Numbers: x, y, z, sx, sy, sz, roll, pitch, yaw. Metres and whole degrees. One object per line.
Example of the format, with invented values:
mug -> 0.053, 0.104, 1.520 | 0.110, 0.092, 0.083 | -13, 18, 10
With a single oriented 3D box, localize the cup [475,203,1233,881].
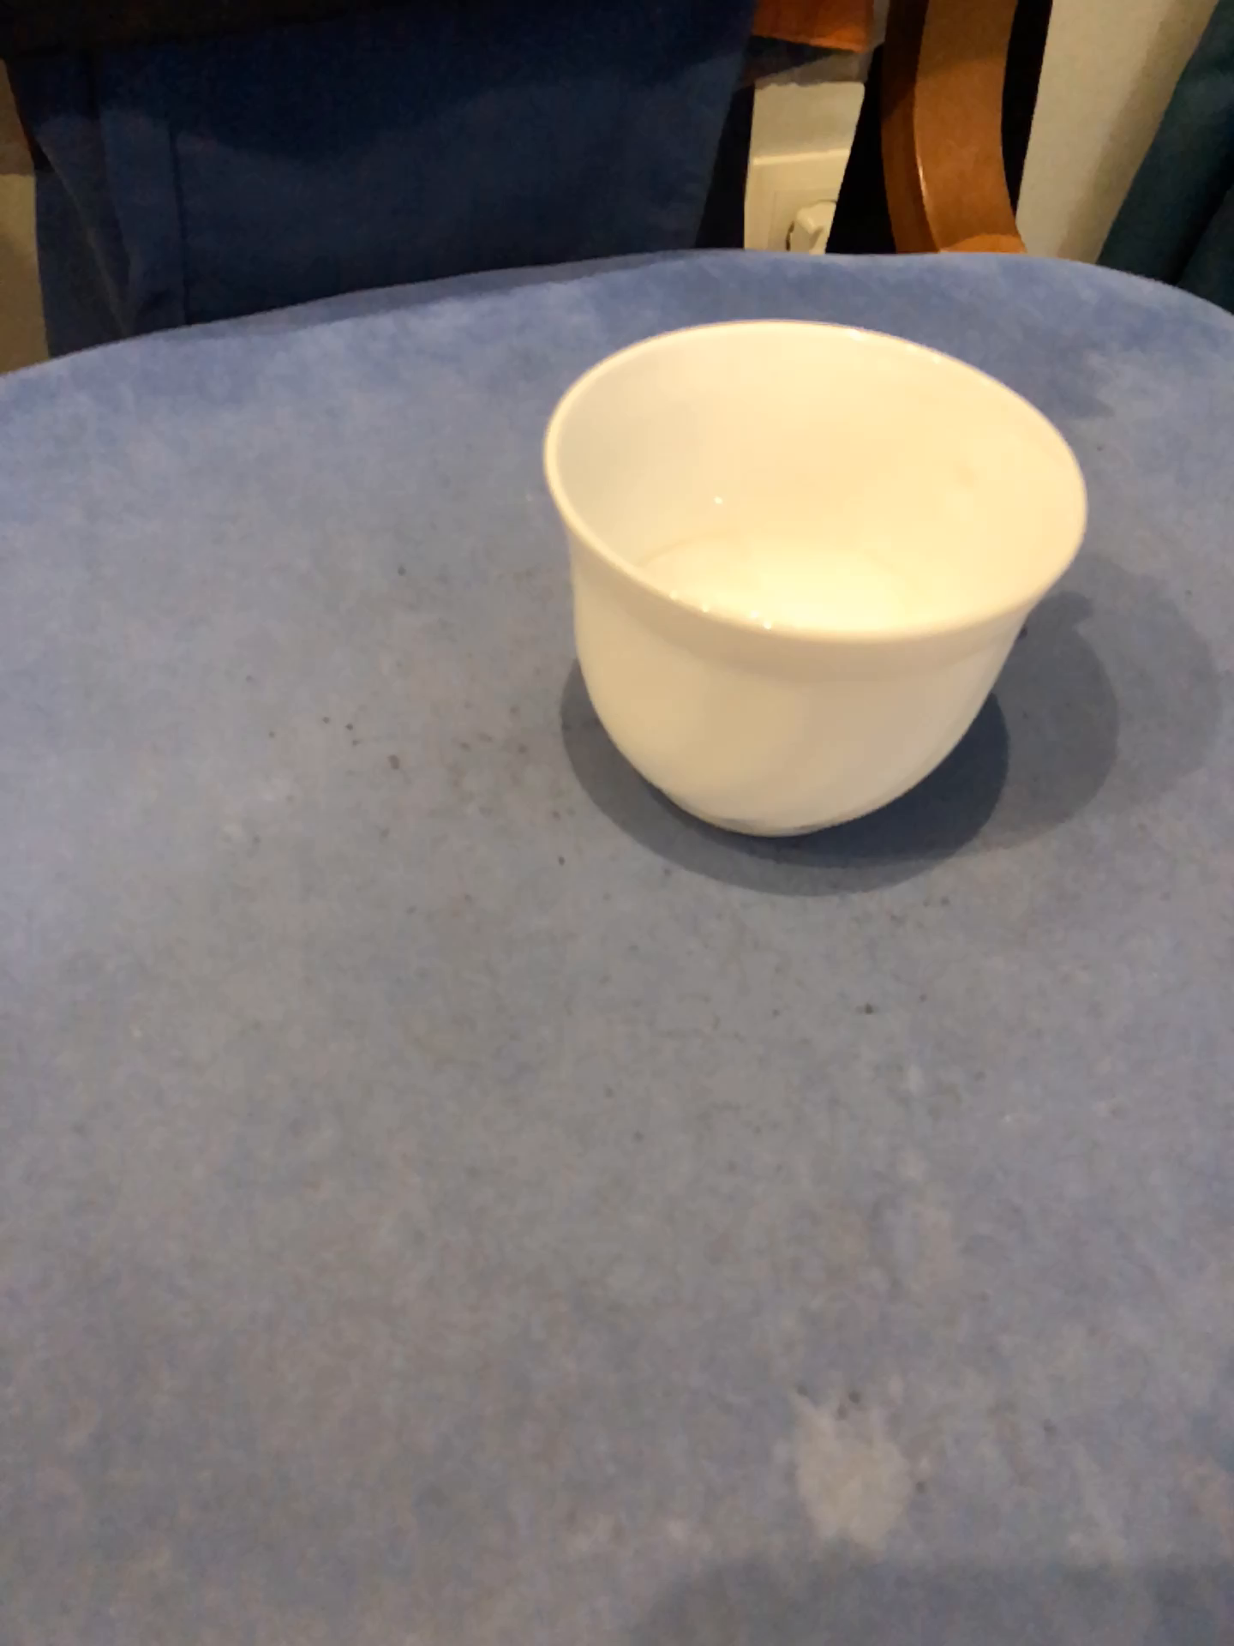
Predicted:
cup -> 0.048, -0.054, 0.230 | 0.120, 0.050, 0.080 | -19, 53, -20
